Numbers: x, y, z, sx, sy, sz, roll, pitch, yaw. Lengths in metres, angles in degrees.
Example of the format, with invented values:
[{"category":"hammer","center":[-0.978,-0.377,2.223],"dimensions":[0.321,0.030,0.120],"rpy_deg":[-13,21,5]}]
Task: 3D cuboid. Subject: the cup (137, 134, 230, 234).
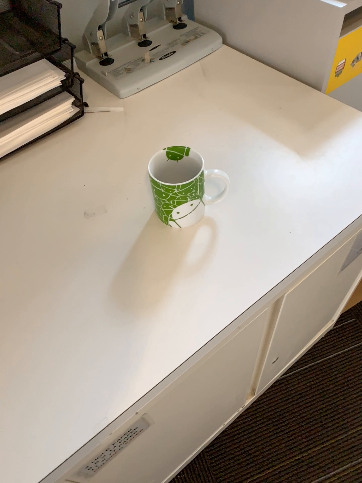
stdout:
[{"category":"cup","center":[0.005,-0.080,0.527],"dimensions":[0.110,0.090,0.080],"rpy_deg":[-12,54,-3]}]
